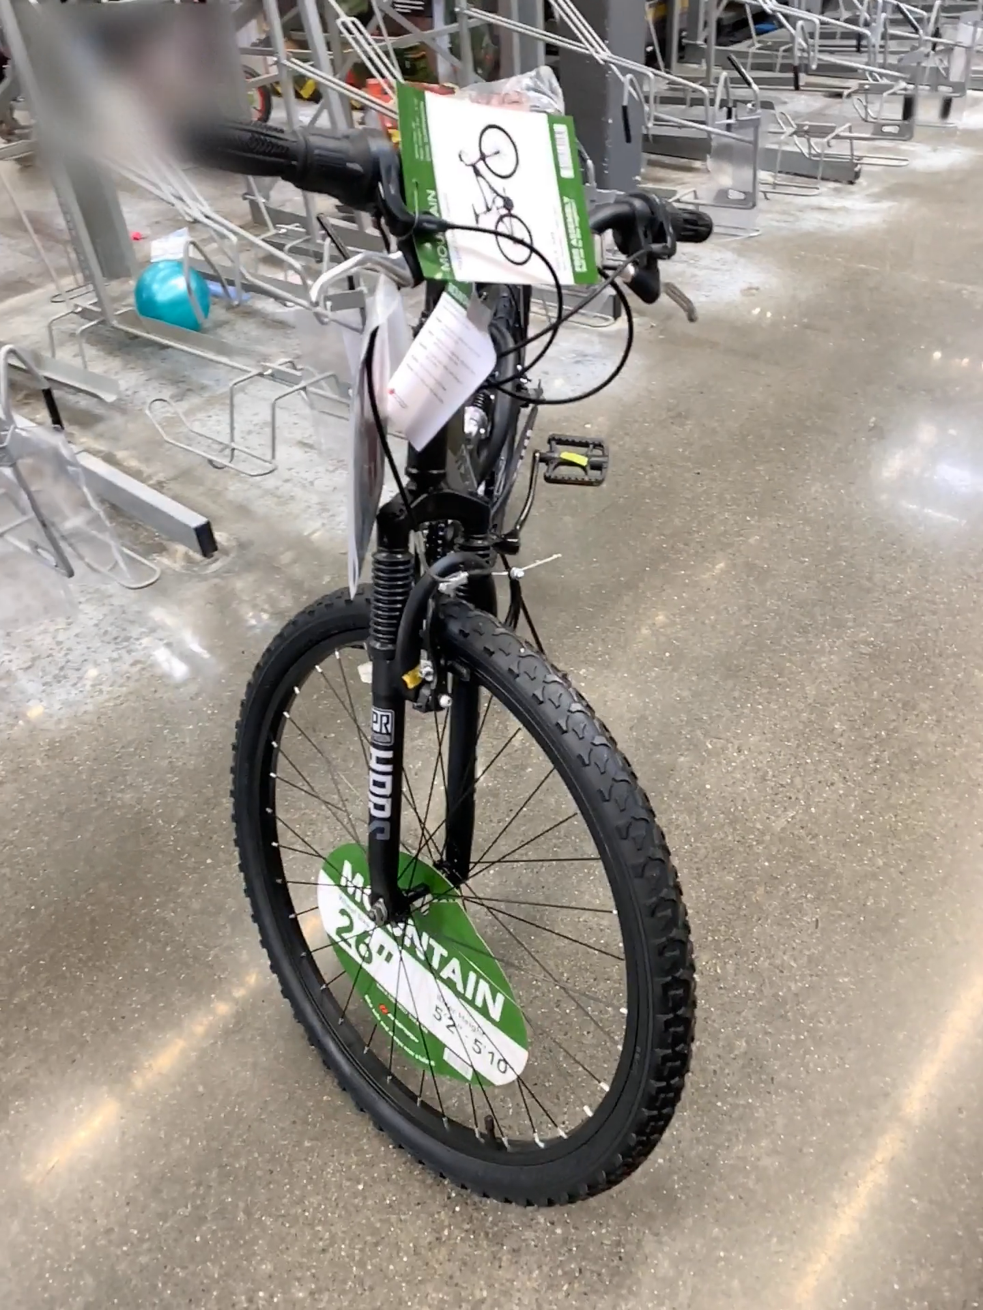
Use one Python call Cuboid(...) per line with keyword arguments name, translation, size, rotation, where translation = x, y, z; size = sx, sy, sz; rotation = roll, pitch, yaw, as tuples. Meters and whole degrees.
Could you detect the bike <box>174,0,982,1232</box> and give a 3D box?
Cuboid(name="bike", translation=(0.154, -0.298, 1.468), size=(0.690, 1.089, 1.690), rotation=(-6, 42, 0))
